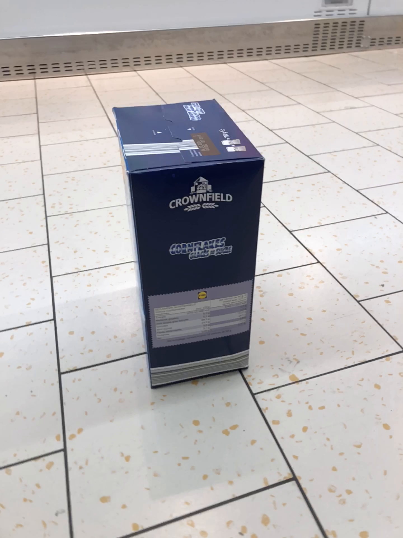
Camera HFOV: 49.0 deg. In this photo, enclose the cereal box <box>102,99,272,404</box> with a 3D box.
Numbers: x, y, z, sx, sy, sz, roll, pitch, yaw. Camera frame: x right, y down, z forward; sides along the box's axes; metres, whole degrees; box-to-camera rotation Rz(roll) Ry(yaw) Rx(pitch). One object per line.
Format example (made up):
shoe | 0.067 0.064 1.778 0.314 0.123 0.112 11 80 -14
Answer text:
cereal box | -0.026 -0.028 0.502 0.130 0.258 0.211 -8 35 -9
